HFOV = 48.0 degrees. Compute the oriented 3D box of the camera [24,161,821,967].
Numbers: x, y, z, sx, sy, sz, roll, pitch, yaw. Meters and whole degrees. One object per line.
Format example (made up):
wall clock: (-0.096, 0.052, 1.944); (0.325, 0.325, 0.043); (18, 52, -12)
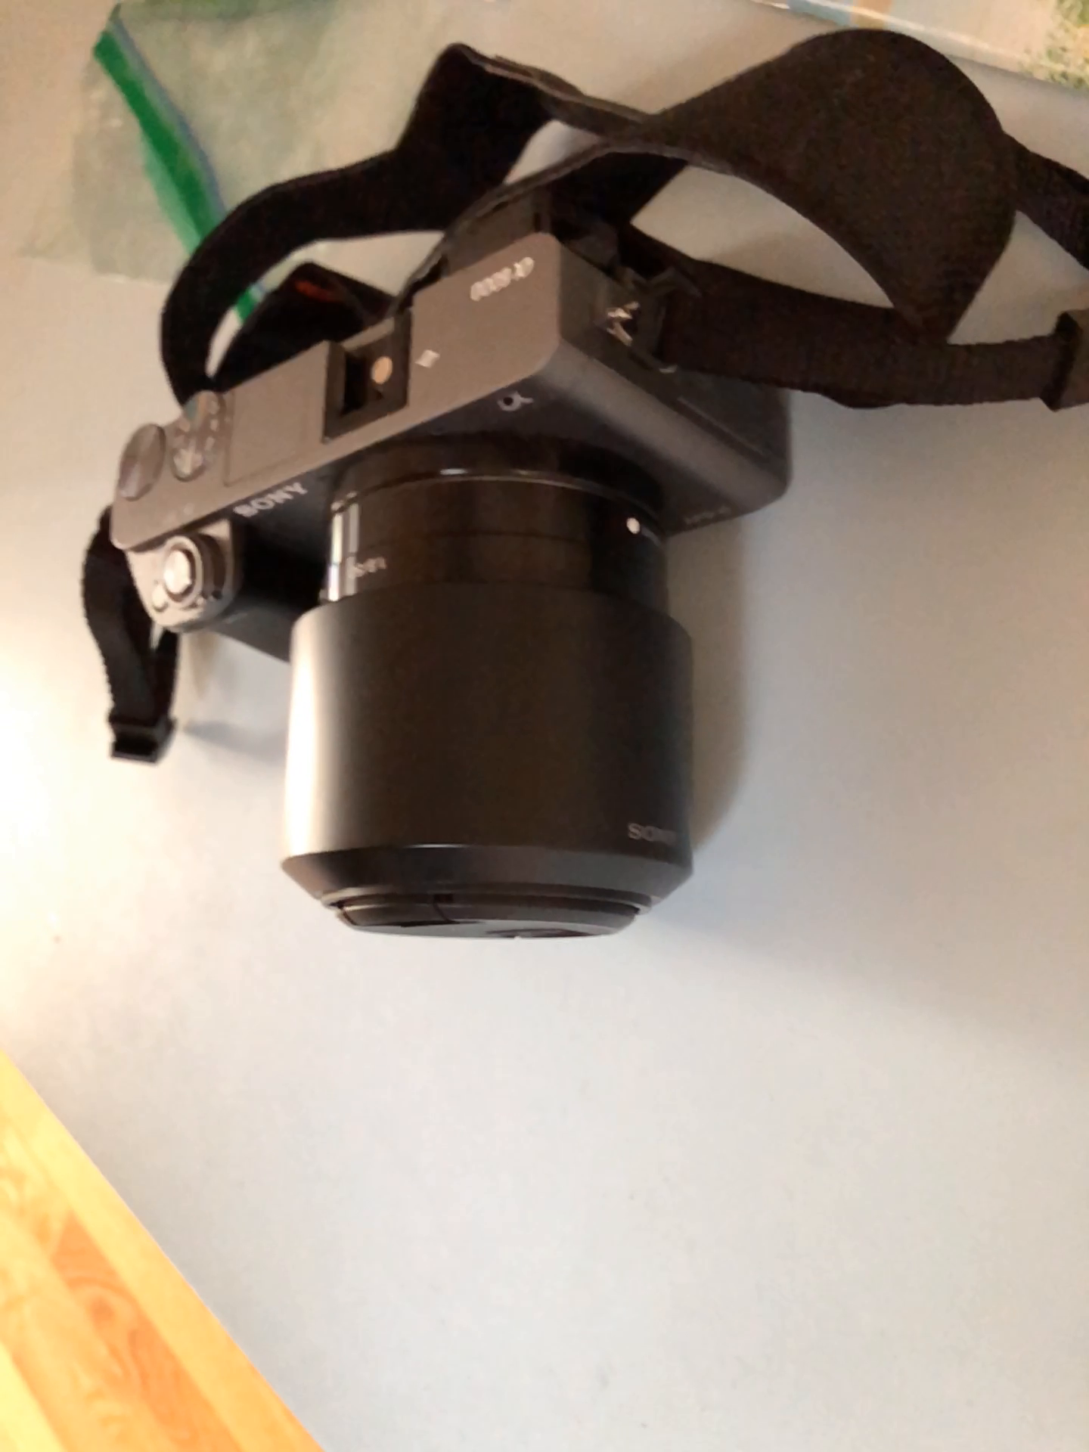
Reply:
camera: (-0.026, -0.012, 0.229); (0.131, 0.070, 0.110); (-10, 74, 39)
